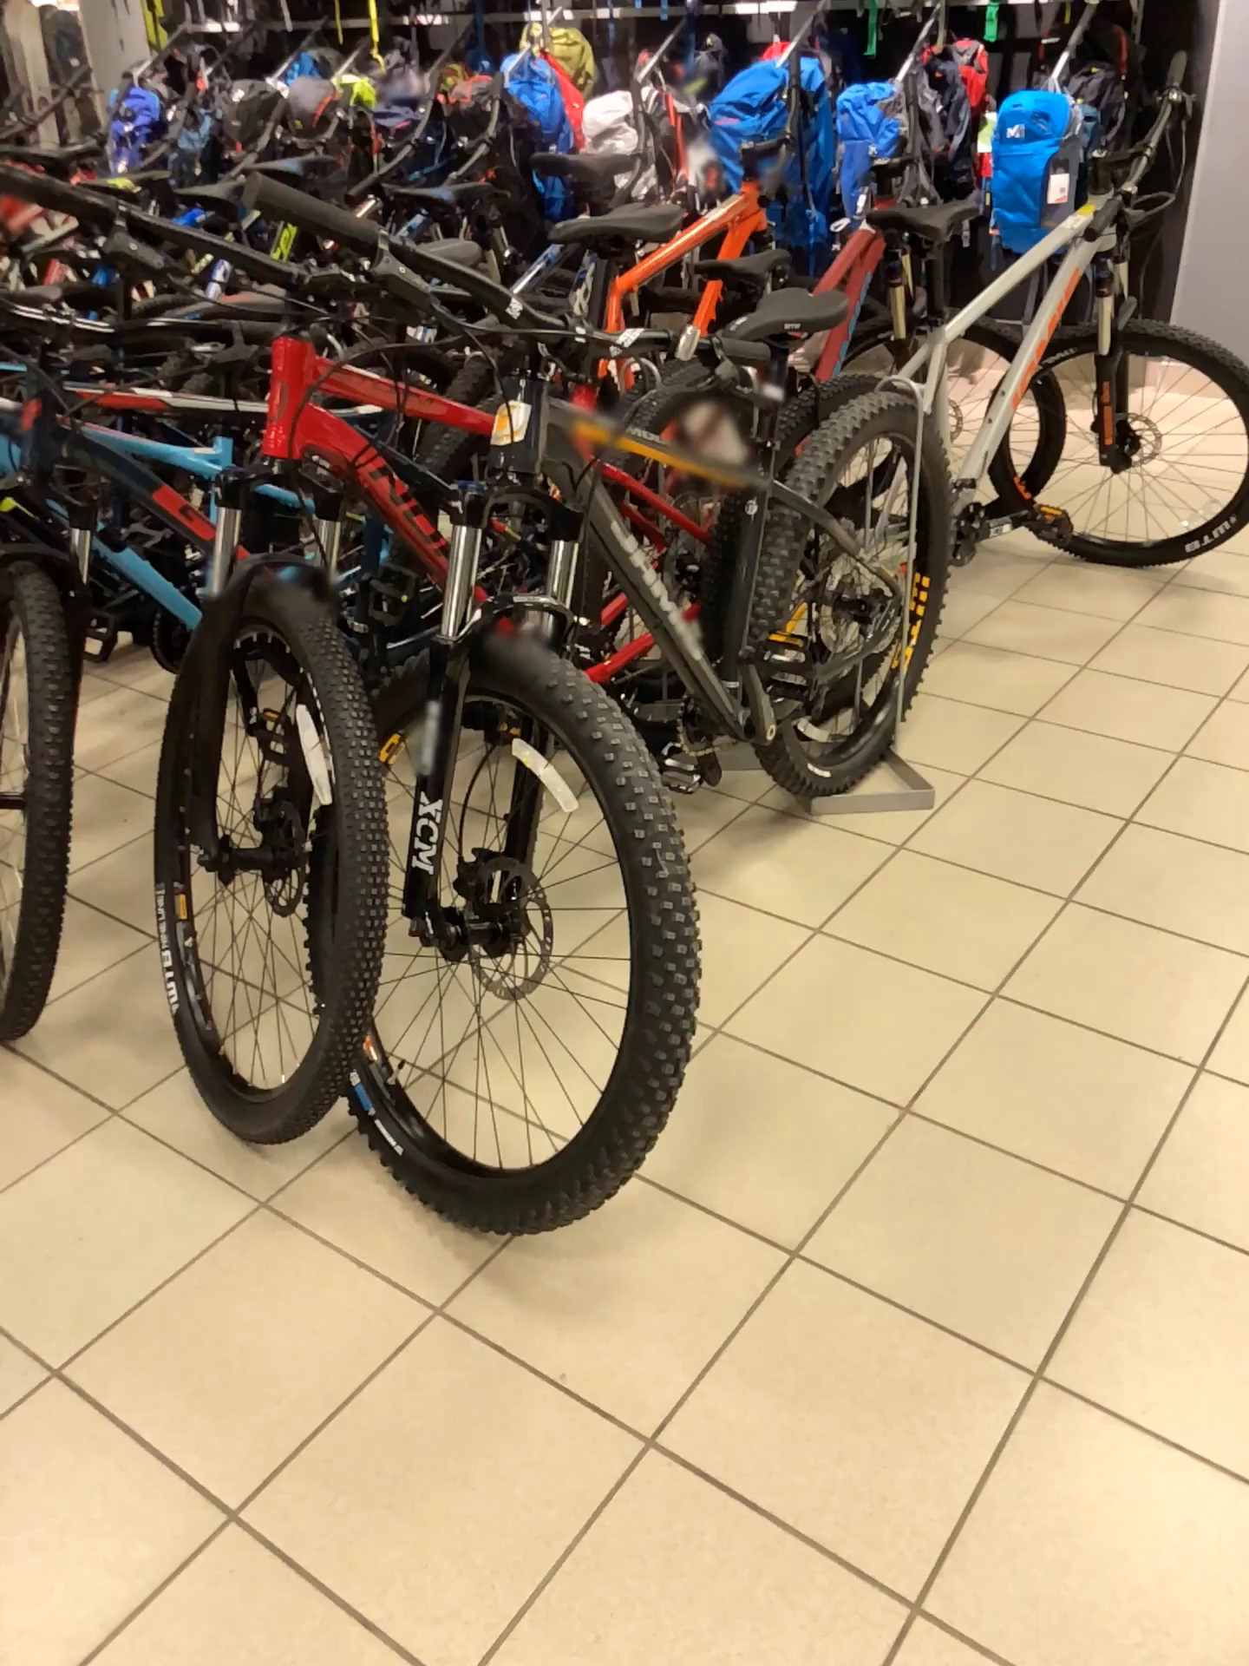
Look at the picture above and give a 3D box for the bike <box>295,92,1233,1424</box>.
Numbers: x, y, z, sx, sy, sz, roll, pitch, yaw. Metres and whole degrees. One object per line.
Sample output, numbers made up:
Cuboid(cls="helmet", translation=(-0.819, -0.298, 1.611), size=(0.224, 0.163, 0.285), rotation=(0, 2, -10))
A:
Cuboid(cls="bike", translation=(0.336, -0.351, 2.013), size=(0.808, 1.166, 1.550), rotation=(11, 34, 22))
